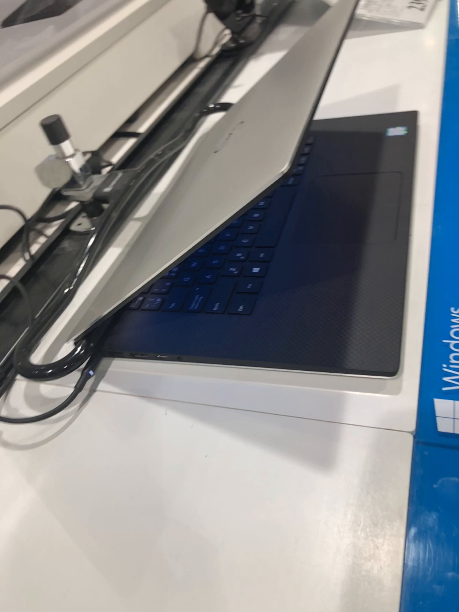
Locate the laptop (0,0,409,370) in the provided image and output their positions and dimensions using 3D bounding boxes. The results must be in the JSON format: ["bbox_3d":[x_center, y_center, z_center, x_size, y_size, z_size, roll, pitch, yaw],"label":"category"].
[{"bbox_3d":[0.026,-0.133,0.408,0.216,0.133,0.347,1,43,20],"label":"laptop"}]
